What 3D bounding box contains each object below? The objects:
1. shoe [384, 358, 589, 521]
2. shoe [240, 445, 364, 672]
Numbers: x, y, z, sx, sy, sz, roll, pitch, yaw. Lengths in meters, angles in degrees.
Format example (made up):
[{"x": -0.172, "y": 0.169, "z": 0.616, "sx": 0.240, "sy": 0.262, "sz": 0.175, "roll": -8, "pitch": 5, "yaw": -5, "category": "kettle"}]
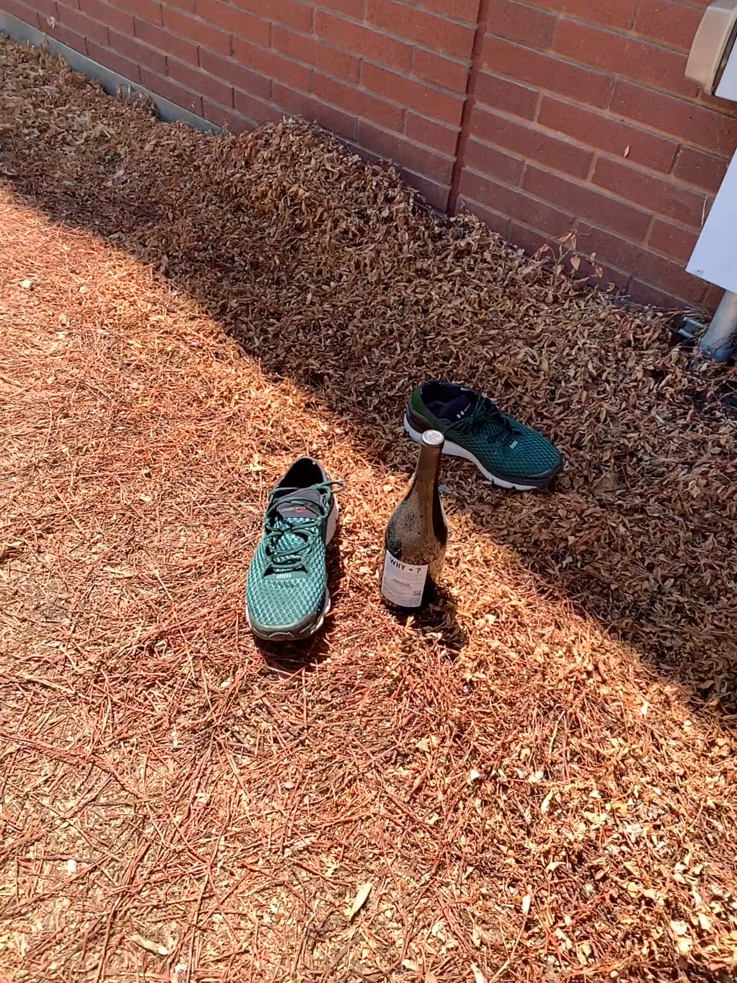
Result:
[{"x": 0.185, "y": -0.090, "z": 1.234, "sx": 0.301, "sy": 0.109, "sz": 0.110, "roll": 28, "pitch": 49, "yaw": 20, "category": "shoe"}, {"x": -0.082, "y": 0.080, "z": 1.001, "sx": 0.110, "sy": 0.109, "sz": 0.281, "roll": 8, "pitch": 45, "yaw": 1, "category": "shoe"}]
